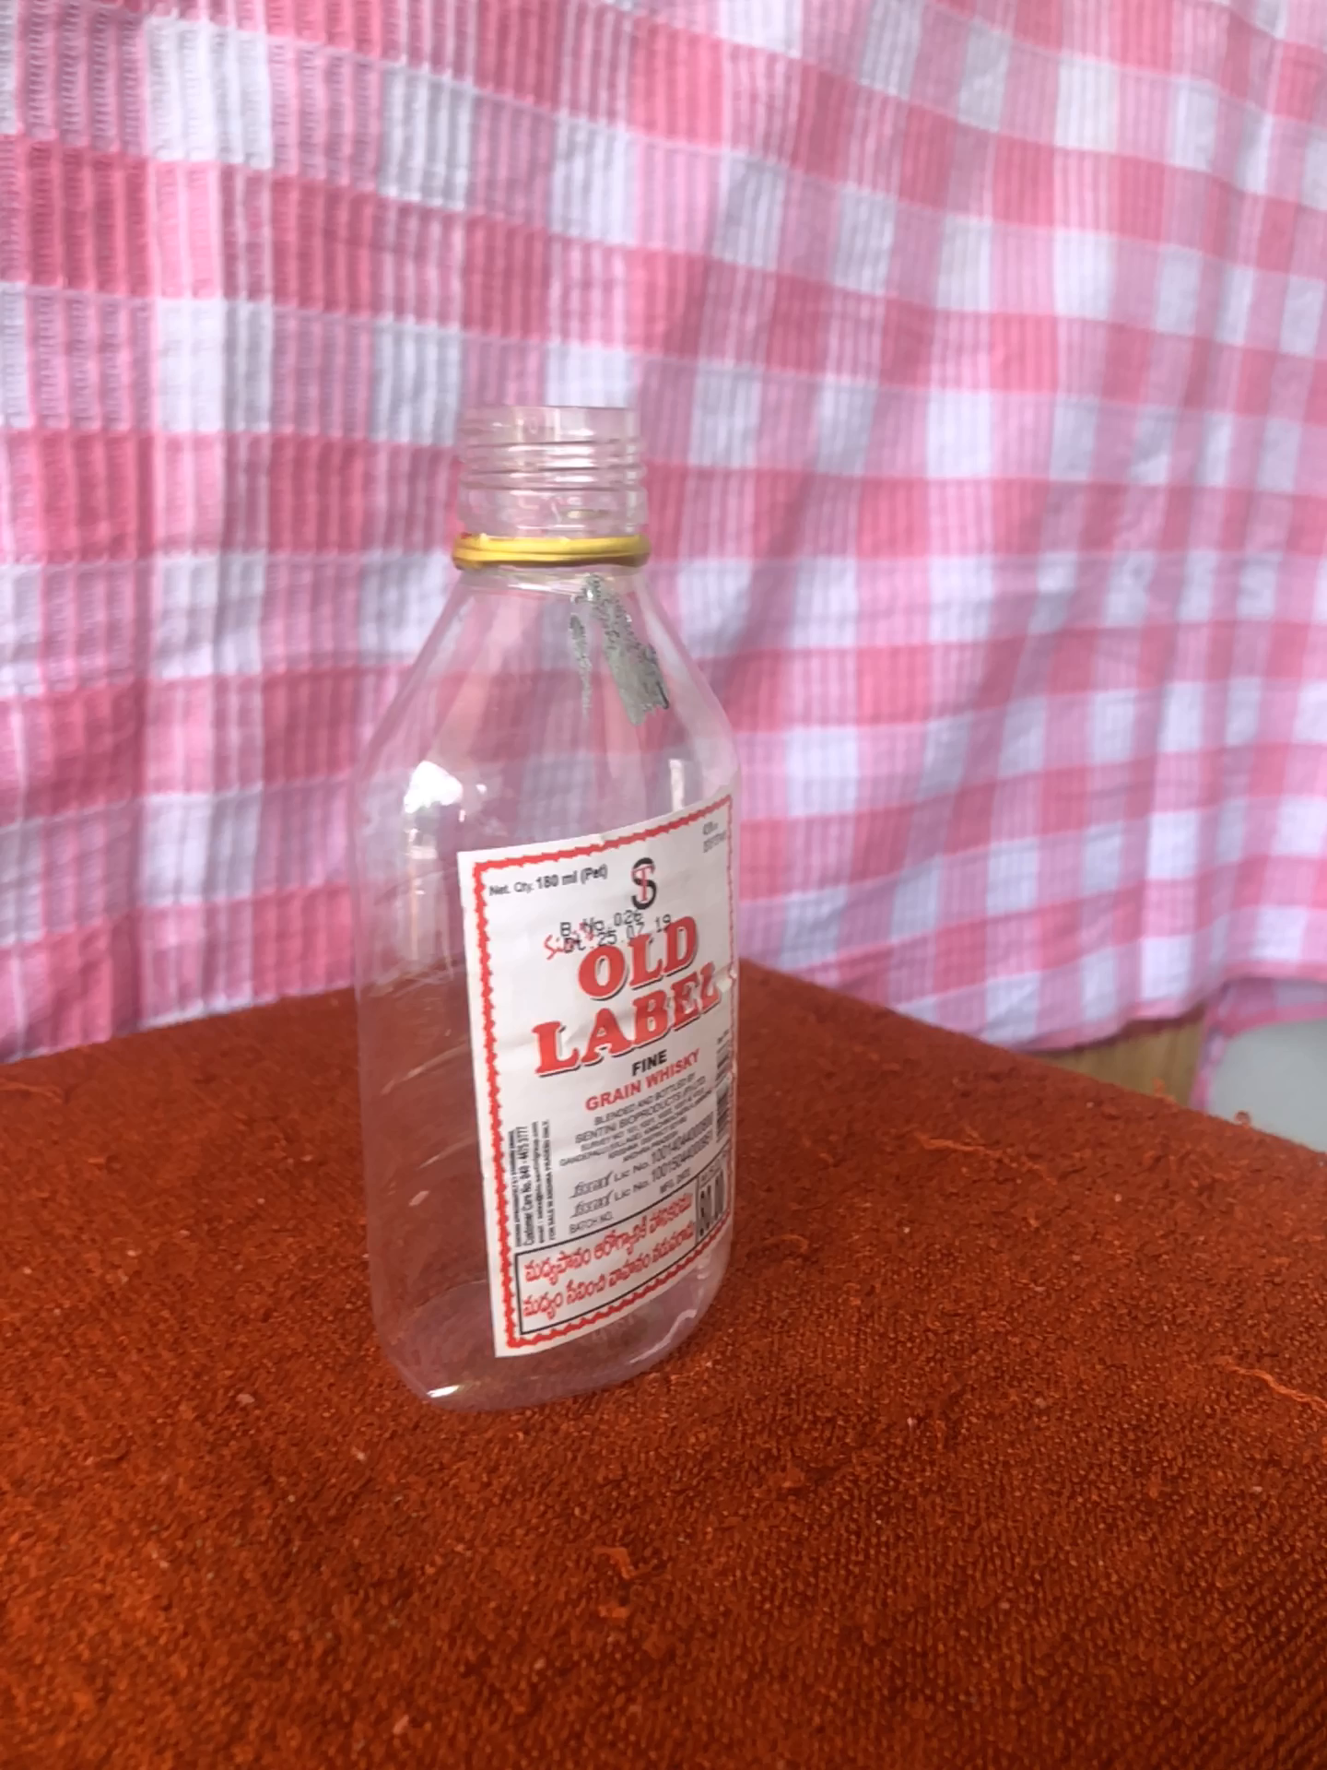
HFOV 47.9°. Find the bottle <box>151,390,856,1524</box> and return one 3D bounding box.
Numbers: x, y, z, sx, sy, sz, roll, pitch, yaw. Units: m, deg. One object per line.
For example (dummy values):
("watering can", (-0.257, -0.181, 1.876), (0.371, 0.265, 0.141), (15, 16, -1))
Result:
("bottle", (-0.022, 0.004, 0.203), (0.070, 0.129, 0.050), (-12, 23, -41))
